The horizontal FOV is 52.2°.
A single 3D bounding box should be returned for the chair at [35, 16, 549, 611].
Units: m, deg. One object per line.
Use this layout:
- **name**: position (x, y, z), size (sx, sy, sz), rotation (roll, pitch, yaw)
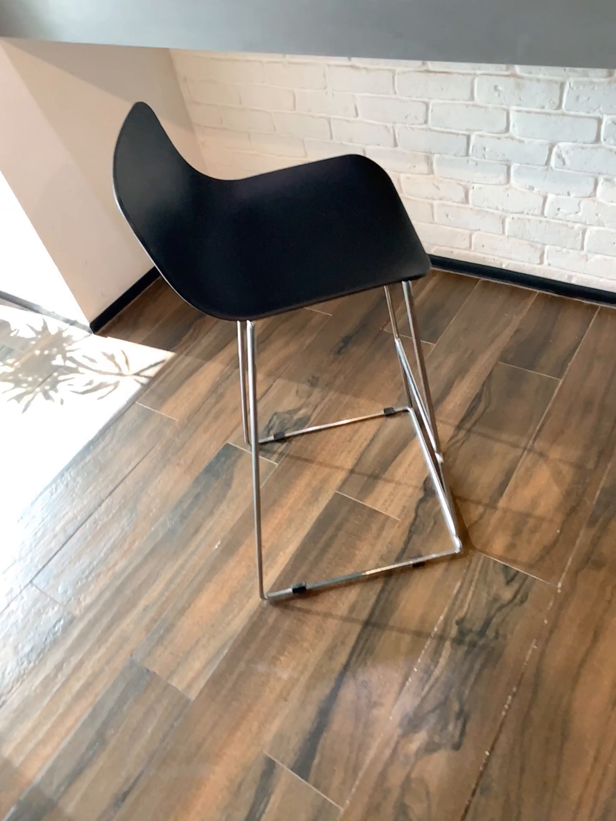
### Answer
- **chair**: position (0.016, -0.121, 1.202), size (0.590, 0.863, 0.544), rotation (-14, 47, 2)
